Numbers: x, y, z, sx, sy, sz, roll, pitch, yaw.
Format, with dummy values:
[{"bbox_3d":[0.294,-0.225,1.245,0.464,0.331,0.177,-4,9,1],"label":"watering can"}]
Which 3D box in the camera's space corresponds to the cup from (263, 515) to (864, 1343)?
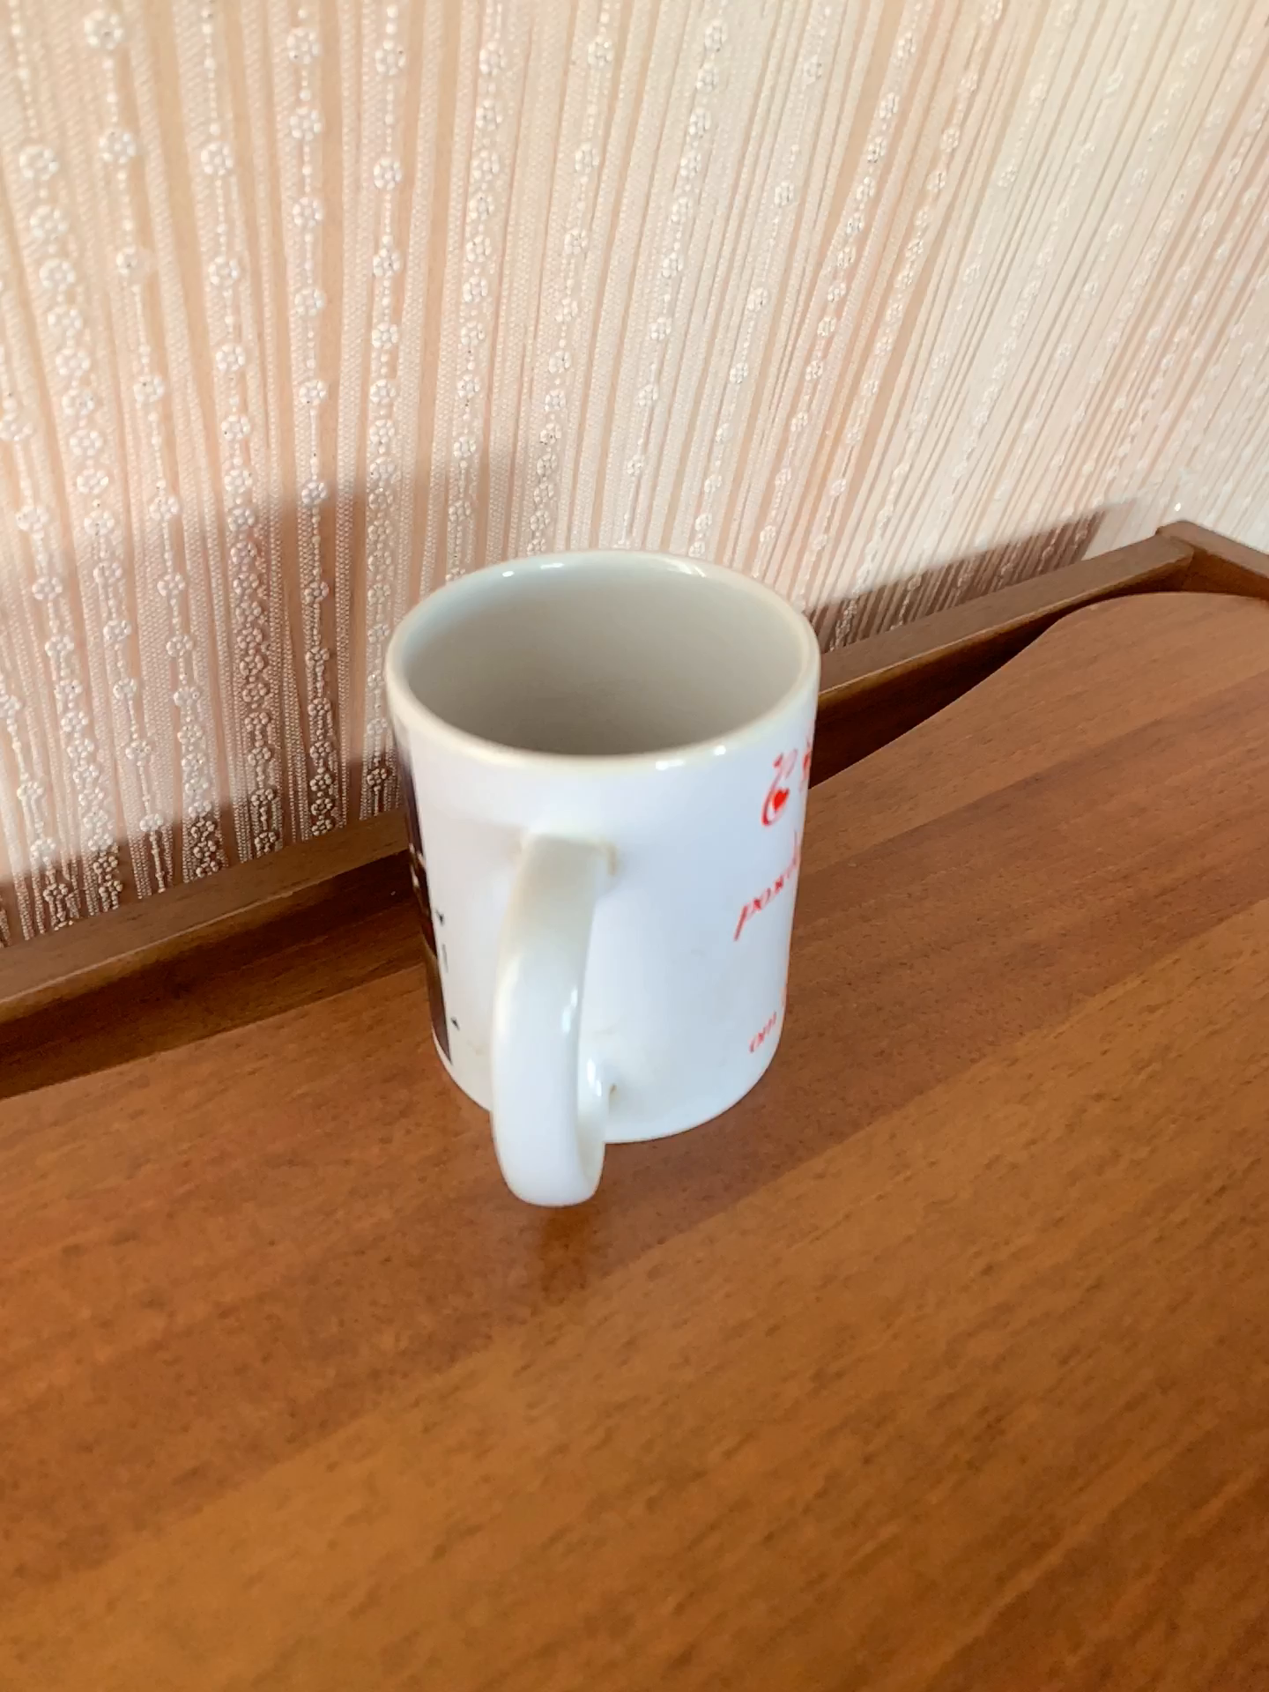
[{"bbox_3d":[-0.003,0.010,0.262,0.082,0.105,0.118,6,37,8],"label":"cup"}]
